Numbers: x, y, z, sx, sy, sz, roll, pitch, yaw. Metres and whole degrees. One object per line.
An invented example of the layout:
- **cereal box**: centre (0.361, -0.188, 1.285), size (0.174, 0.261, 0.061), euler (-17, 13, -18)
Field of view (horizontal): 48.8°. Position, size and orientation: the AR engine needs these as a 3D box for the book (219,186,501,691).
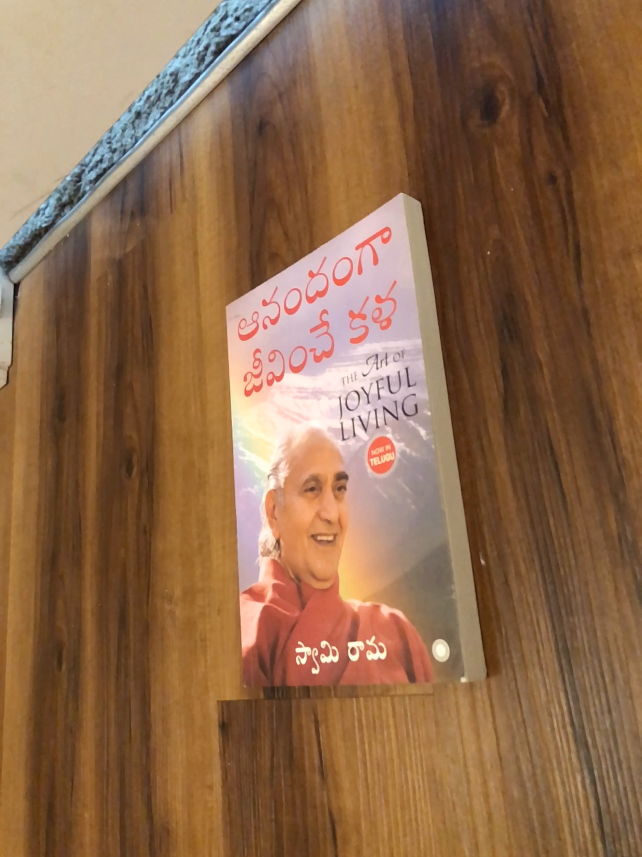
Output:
- **book**: centre (0.005, 0.013, 0.353), size (0.145, 0.020, 0.219), euler (-21, 68, 44)
